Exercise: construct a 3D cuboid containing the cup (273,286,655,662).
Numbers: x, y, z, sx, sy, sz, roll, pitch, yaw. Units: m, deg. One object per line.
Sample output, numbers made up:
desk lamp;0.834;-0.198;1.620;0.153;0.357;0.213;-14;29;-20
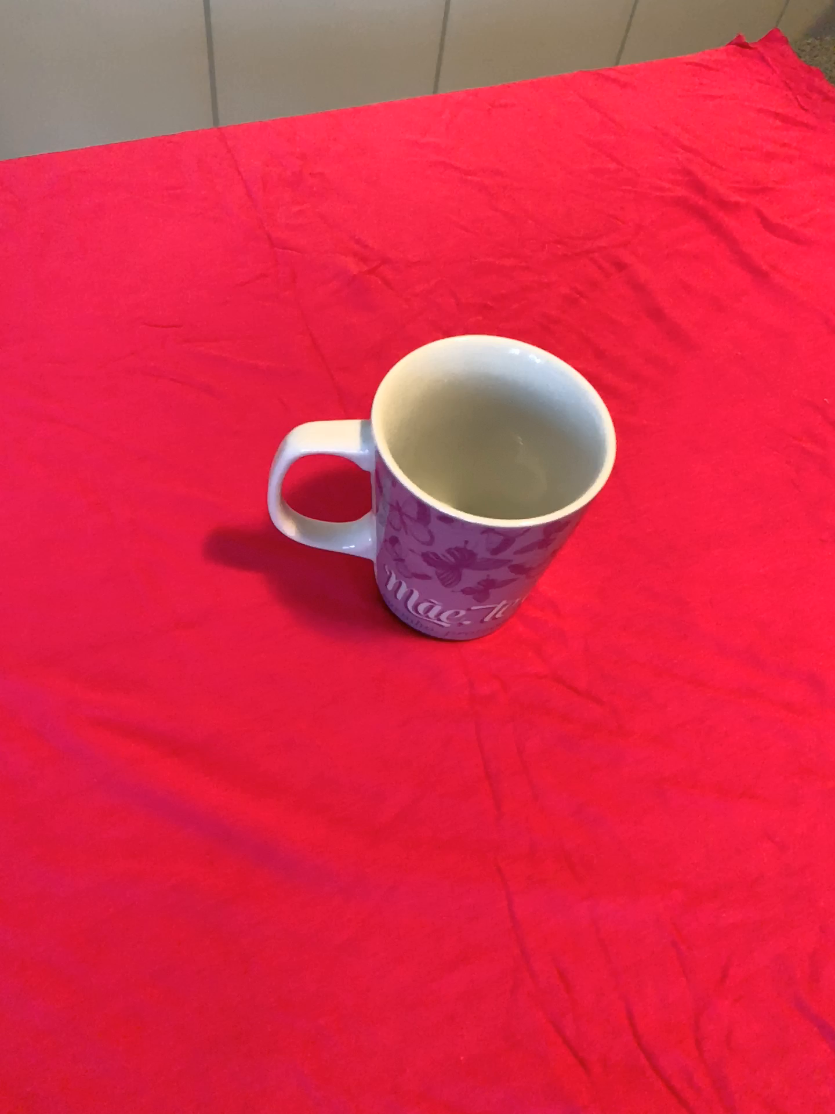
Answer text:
cup;0.008;-0.024;0.306;0.110;0.100;0.080;4;57;-7
